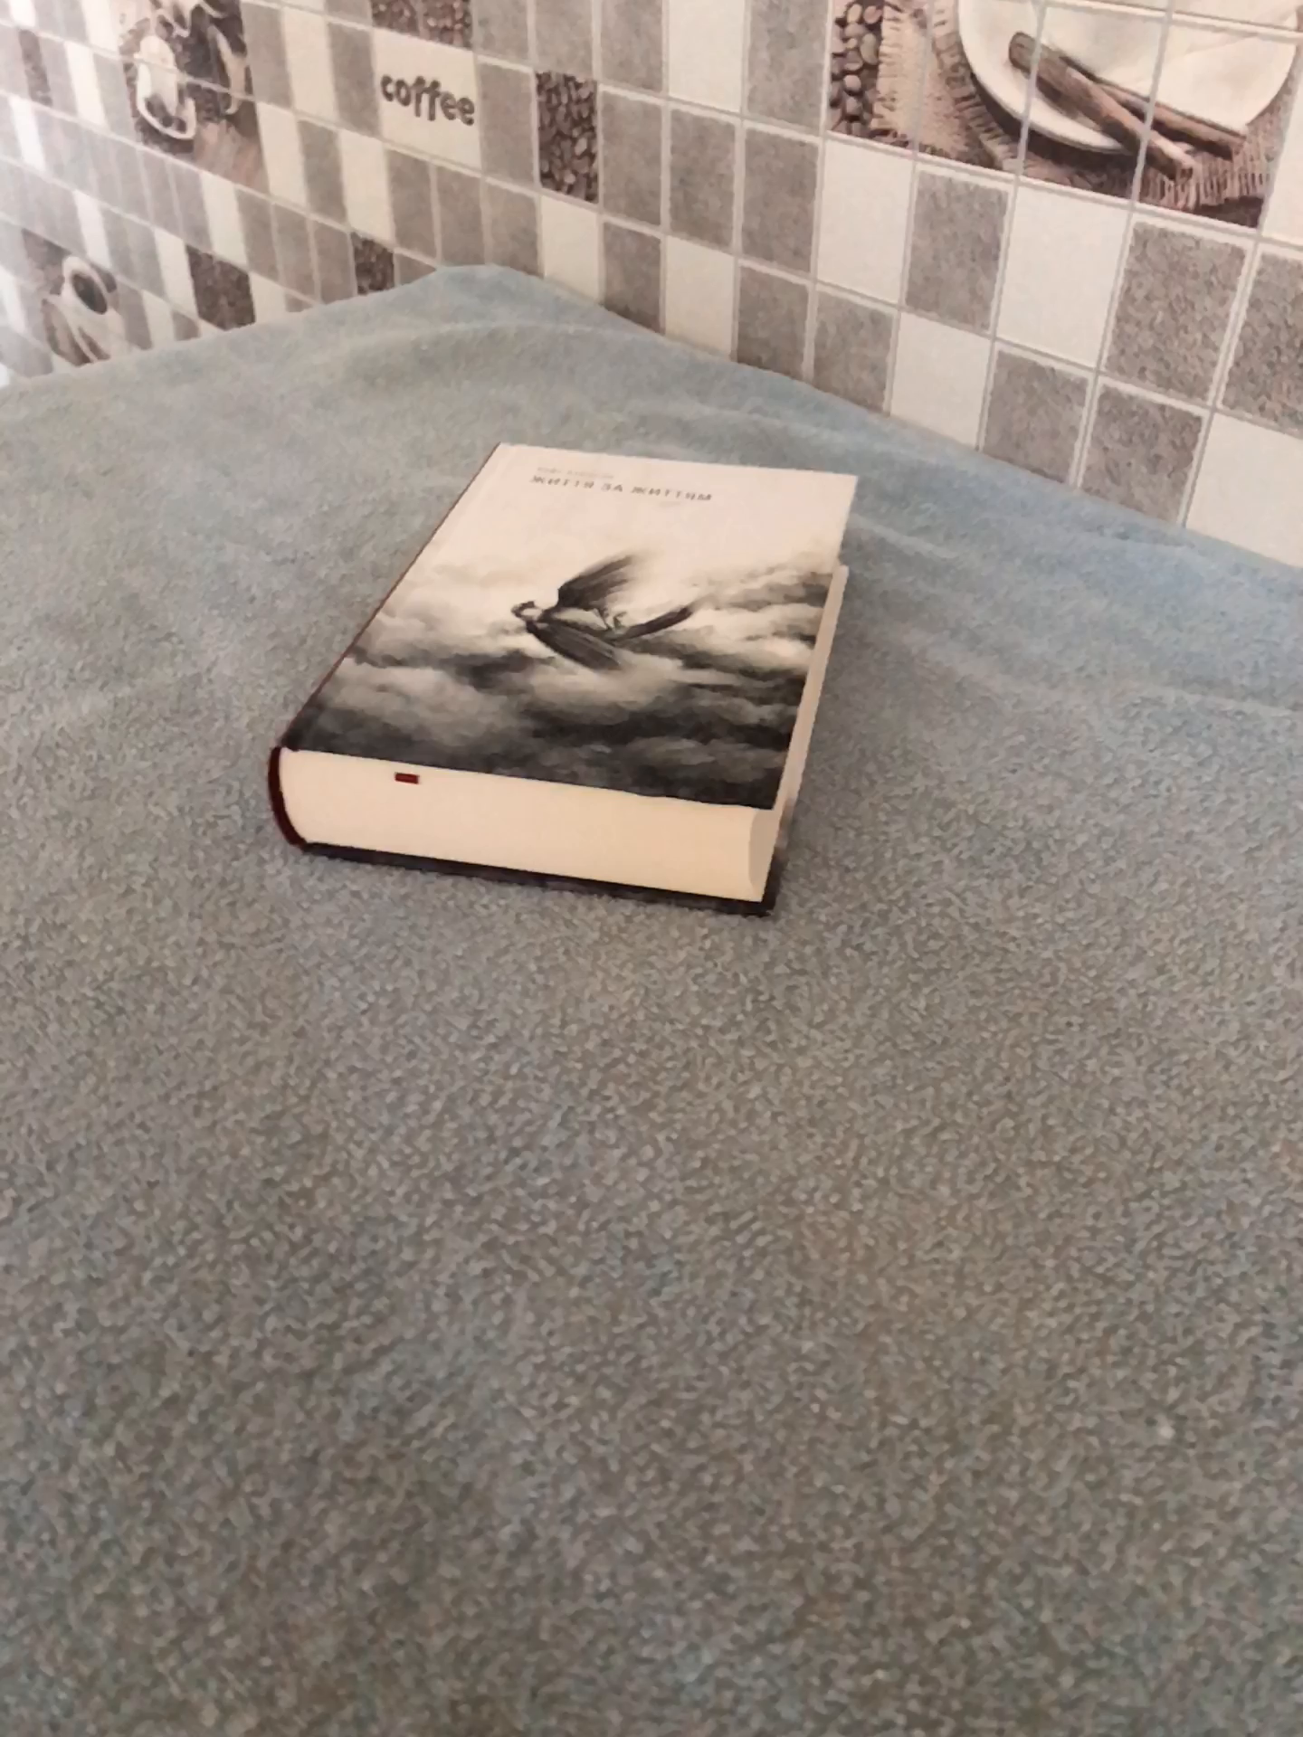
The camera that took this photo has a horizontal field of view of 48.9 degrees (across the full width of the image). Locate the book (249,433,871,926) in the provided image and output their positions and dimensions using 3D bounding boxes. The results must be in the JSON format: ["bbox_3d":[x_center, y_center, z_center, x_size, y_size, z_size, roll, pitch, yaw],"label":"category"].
[{"bbox_3d":[-0.015,-0.079,0.490,0.155,0.040,0.222,8,40,9],"label":"book"}]
